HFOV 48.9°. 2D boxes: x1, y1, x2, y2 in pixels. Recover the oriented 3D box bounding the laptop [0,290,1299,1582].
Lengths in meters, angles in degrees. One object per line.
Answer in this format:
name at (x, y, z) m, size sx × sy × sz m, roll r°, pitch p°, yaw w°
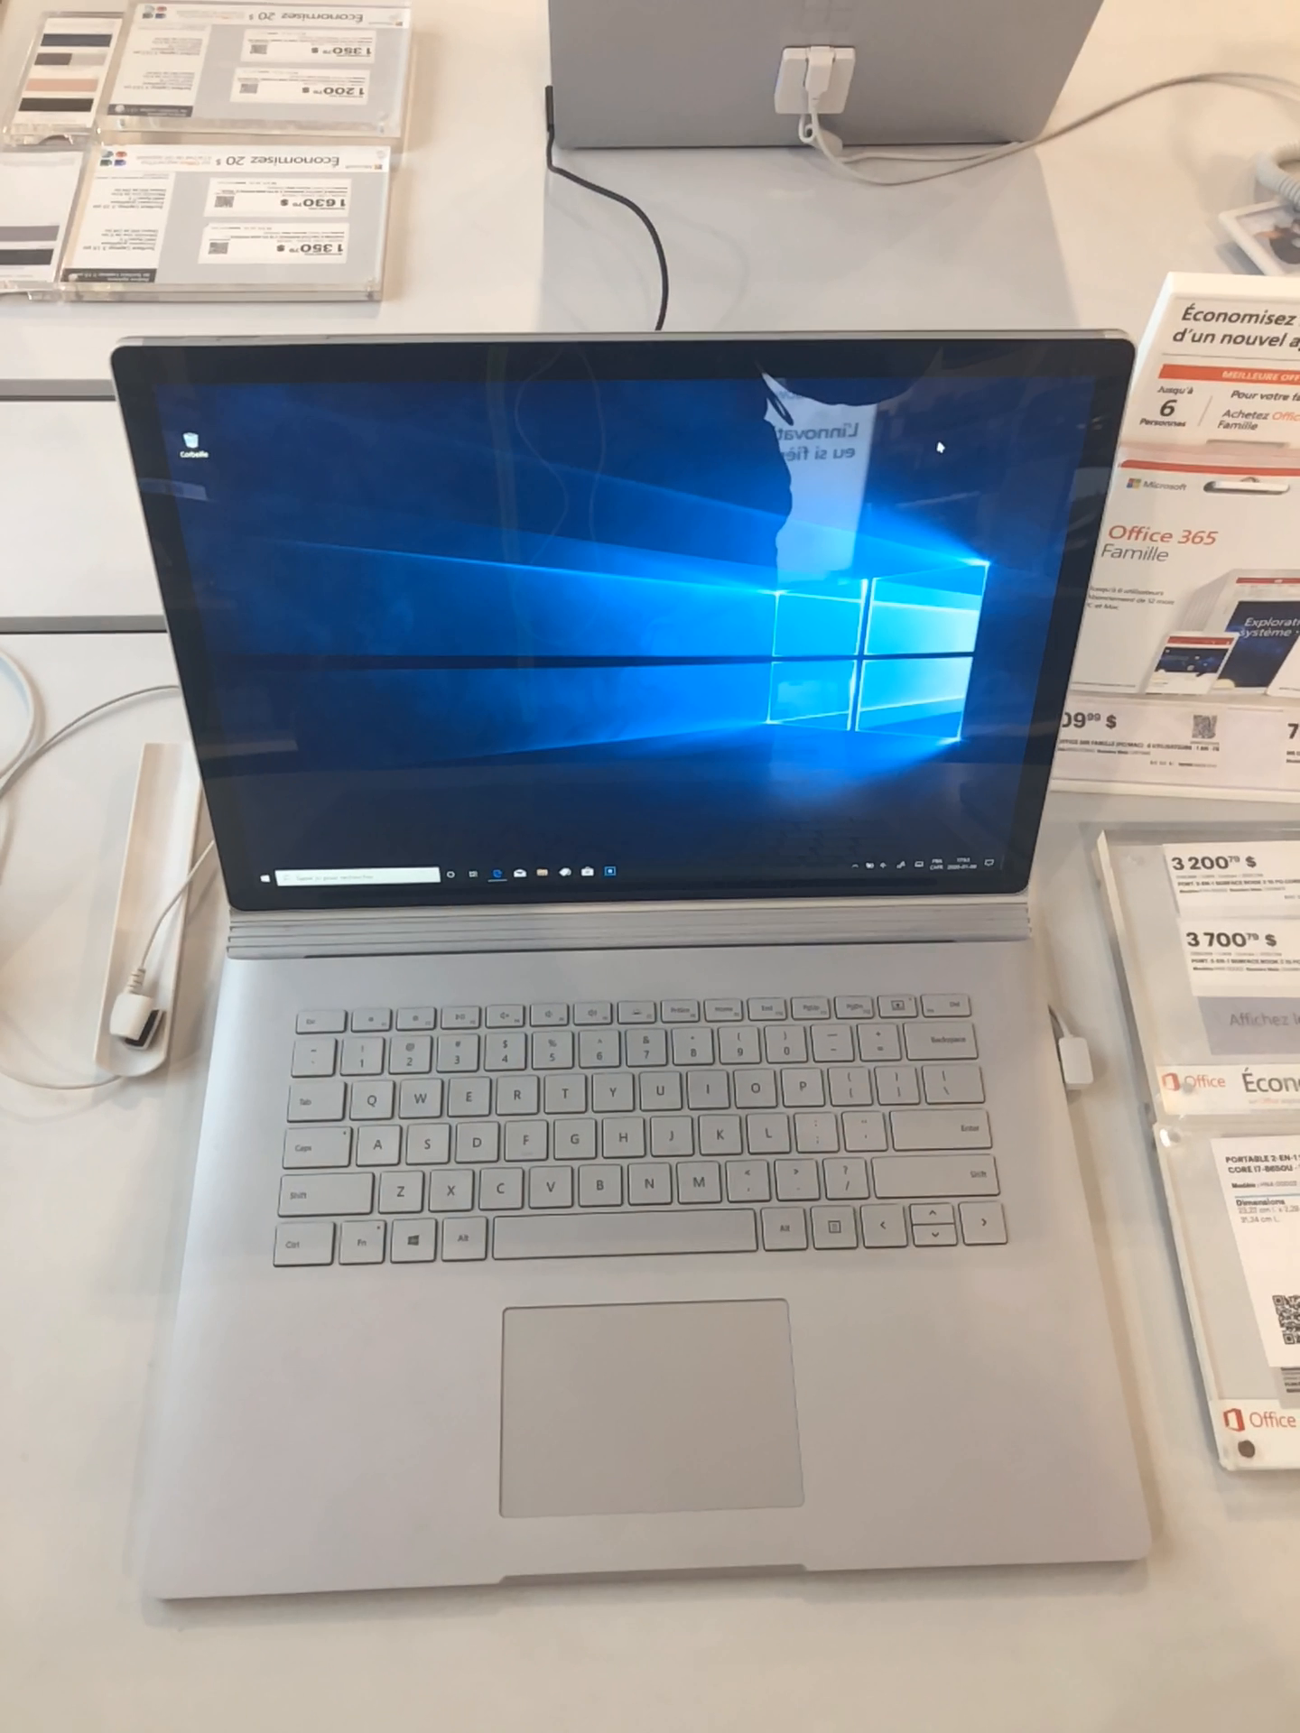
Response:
laptop at (-0.005, 0.024, 0.483) m, size 0.338 × 0.207 × 0.365 m, roll -1°, pitch 62°, yaw -3°
